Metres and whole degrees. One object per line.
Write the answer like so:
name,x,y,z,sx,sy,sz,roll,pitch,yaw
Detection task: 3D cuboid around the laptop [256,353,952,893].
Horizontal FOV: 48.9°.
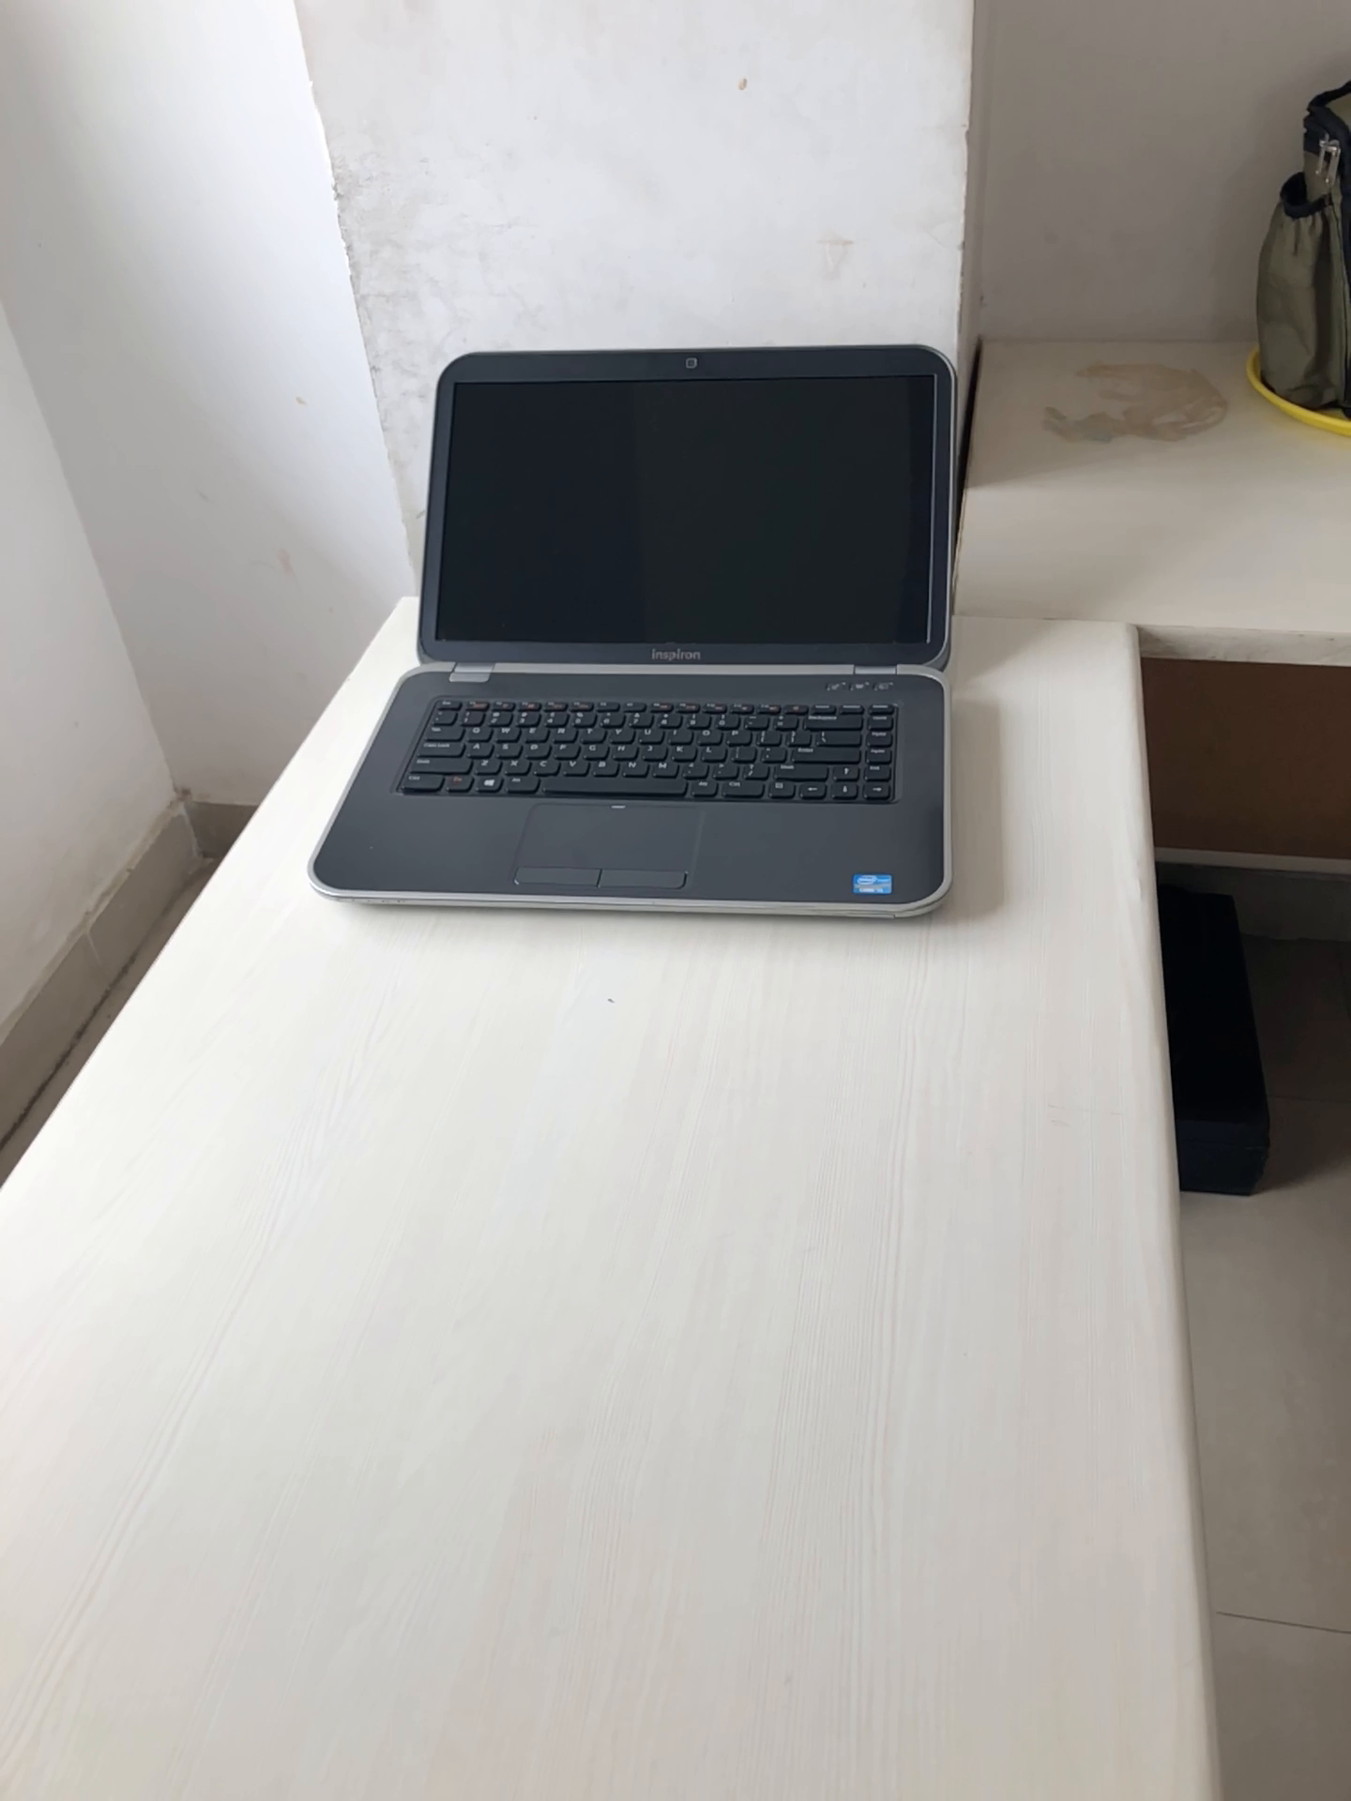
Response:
laptop,-0.006,-0.191,0.929,0.341,0.145,0.408,2,40,8
